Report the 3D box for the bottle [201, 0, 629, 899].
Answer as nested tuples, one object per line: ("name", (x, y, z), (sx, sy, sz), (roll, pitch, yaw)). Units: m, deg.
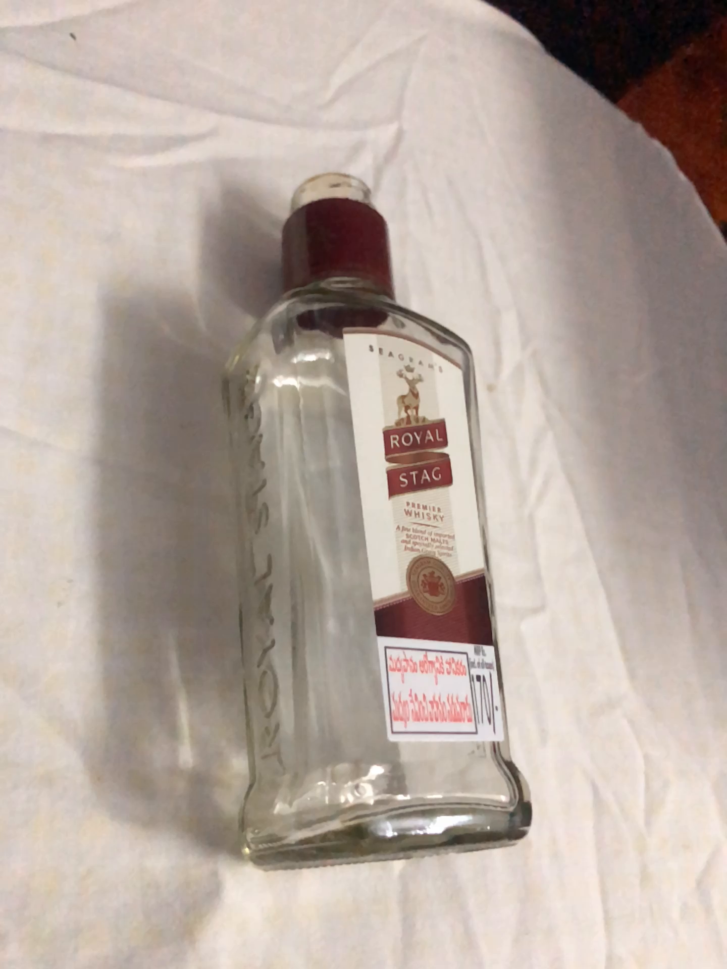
("bottle", (0.005, -0.013, 0.182), (0.060, 0.050, 0.180), (12, 65, -33))
